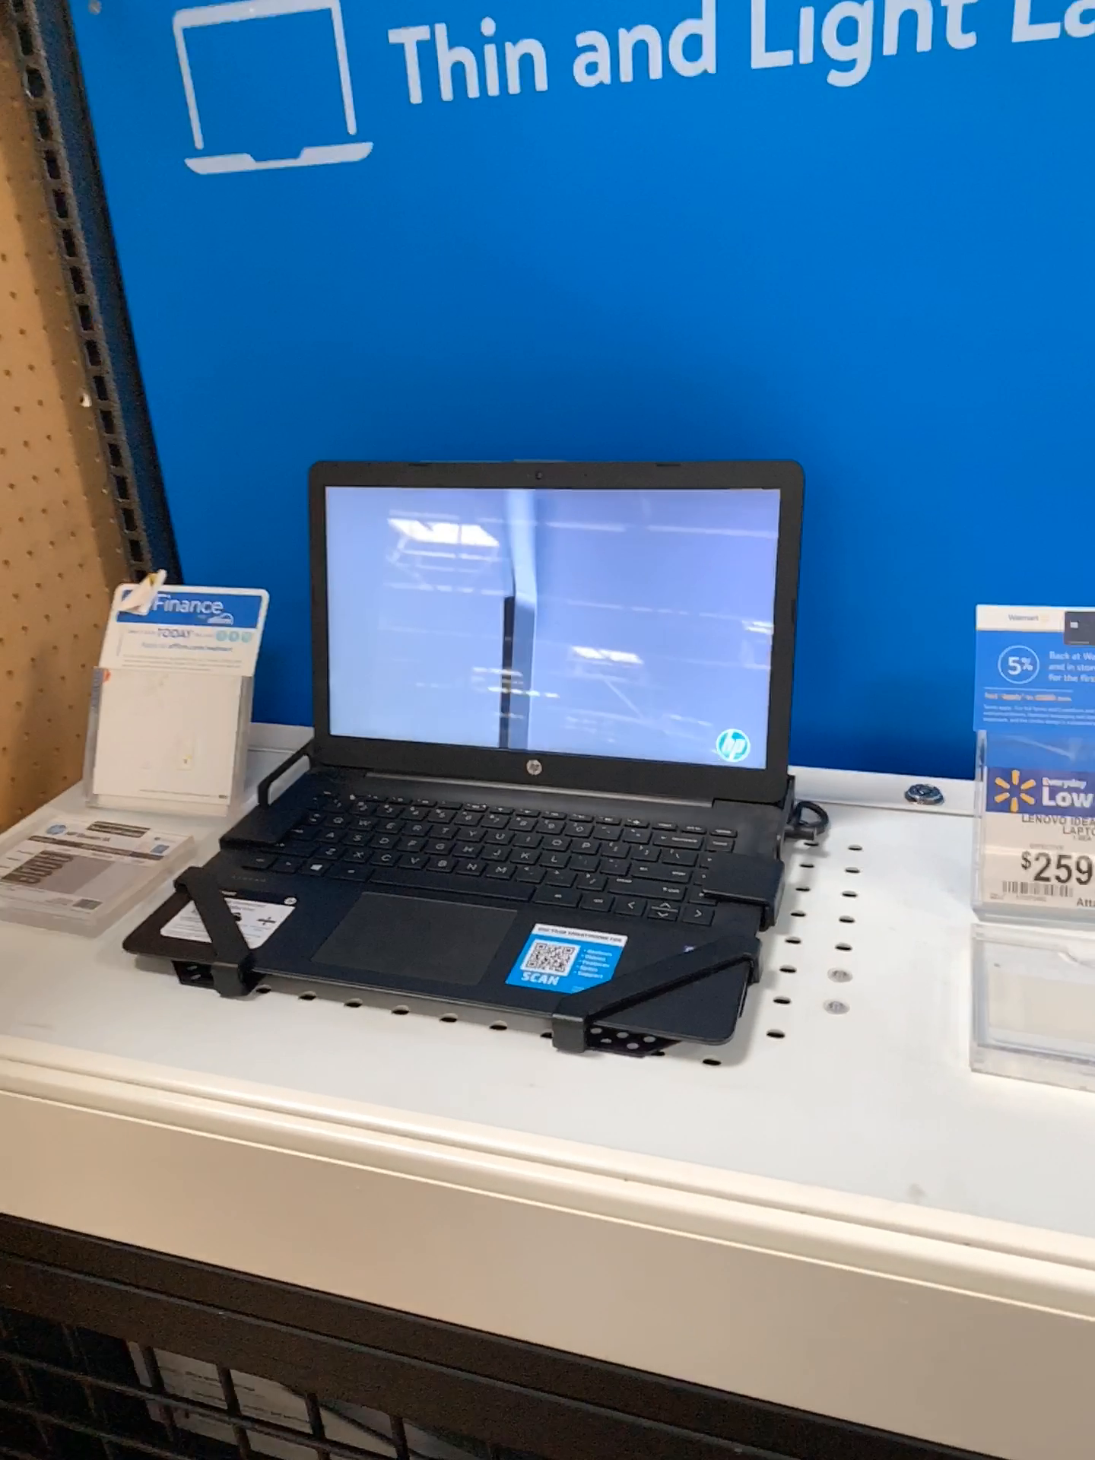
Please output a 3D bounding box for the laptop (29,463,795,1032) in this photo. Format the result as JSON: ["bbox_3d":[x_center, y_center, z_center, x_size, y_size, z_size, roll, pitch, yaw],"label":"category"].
[{"bbox_3d":[-0.042,-0.022,0.635,0.326,0.203,0.270,4,25,17],"label":"laptop"}]
